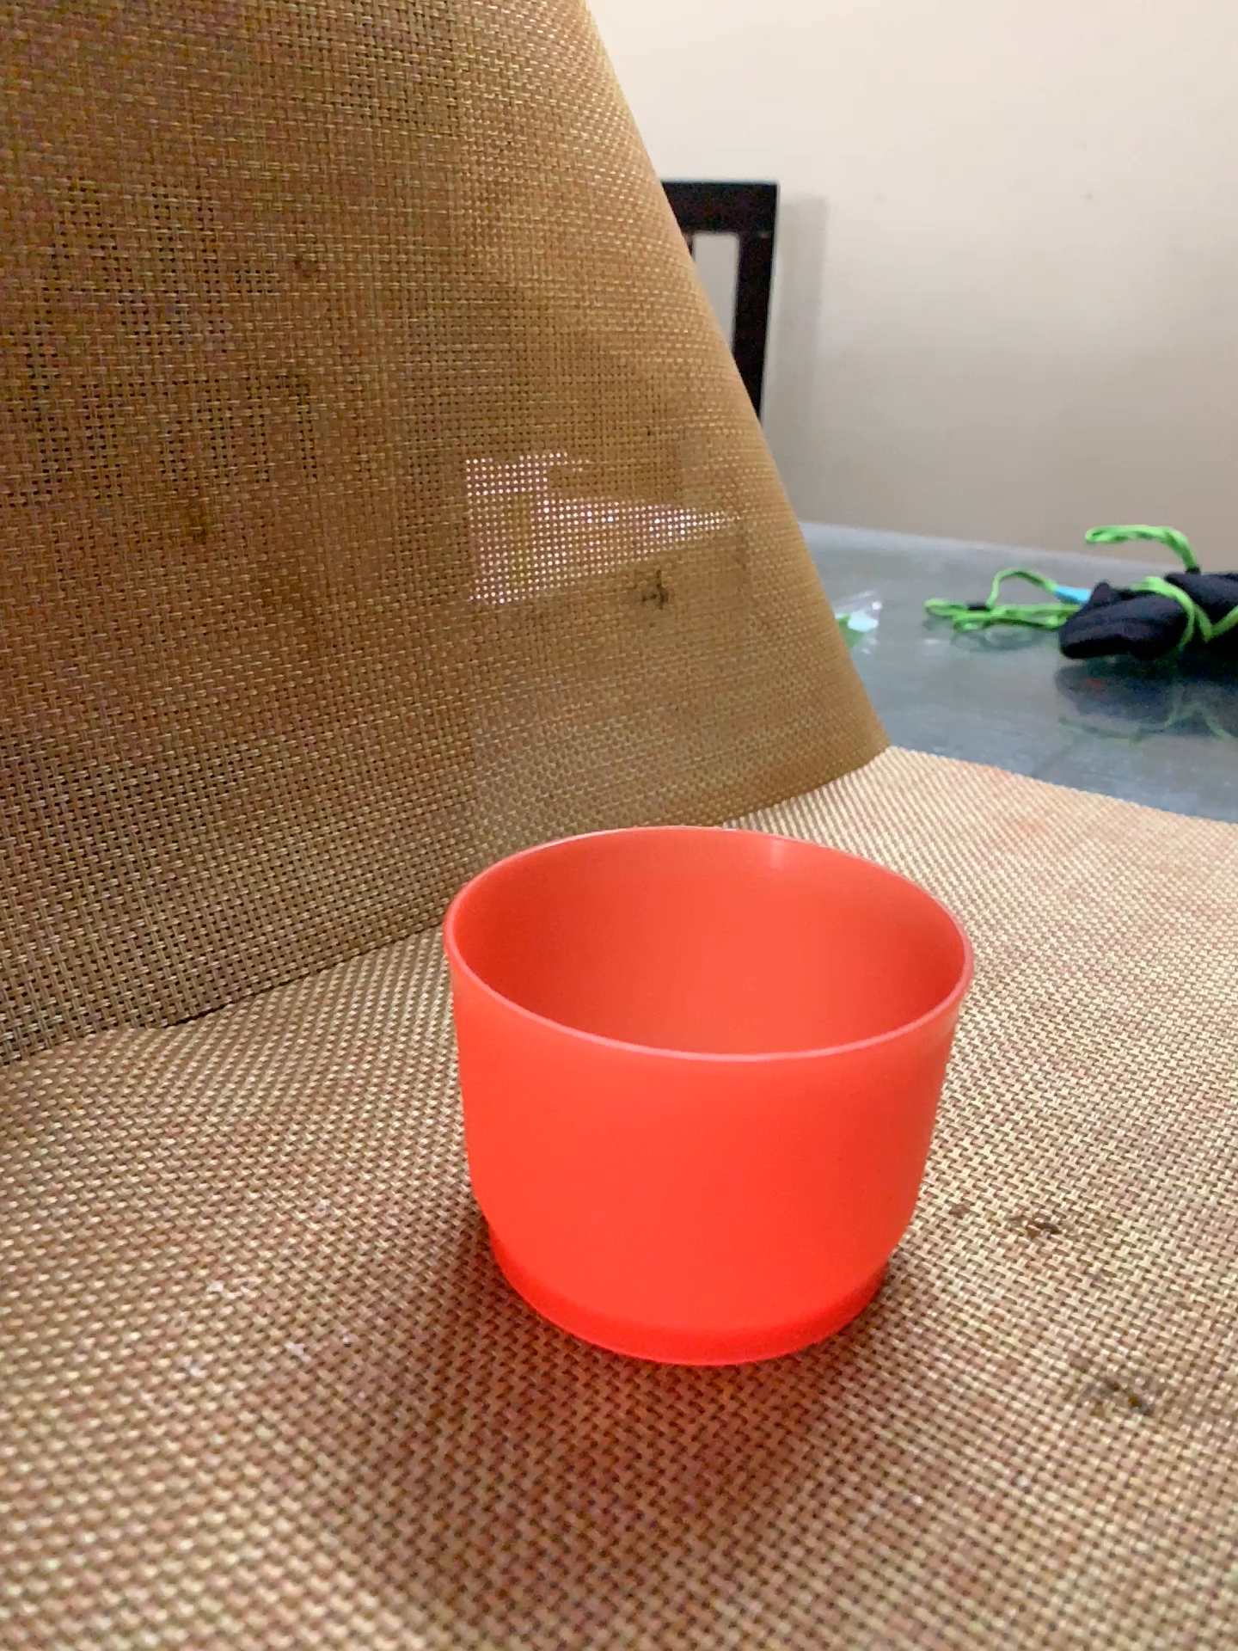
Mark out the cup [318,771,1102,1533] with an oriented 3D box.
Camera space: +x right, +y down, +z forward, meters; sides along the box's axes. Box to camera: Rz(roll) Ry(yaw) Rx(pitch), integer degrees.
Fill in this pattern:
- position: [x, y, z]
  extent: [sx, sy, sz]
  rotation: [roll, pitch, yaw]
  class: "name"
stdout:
- position: [0.016, 0.034, 0.185]
  extent: [0.078, 0.050, 0.082]
  rotation: [2, 21, -1]
  class: "cup"
